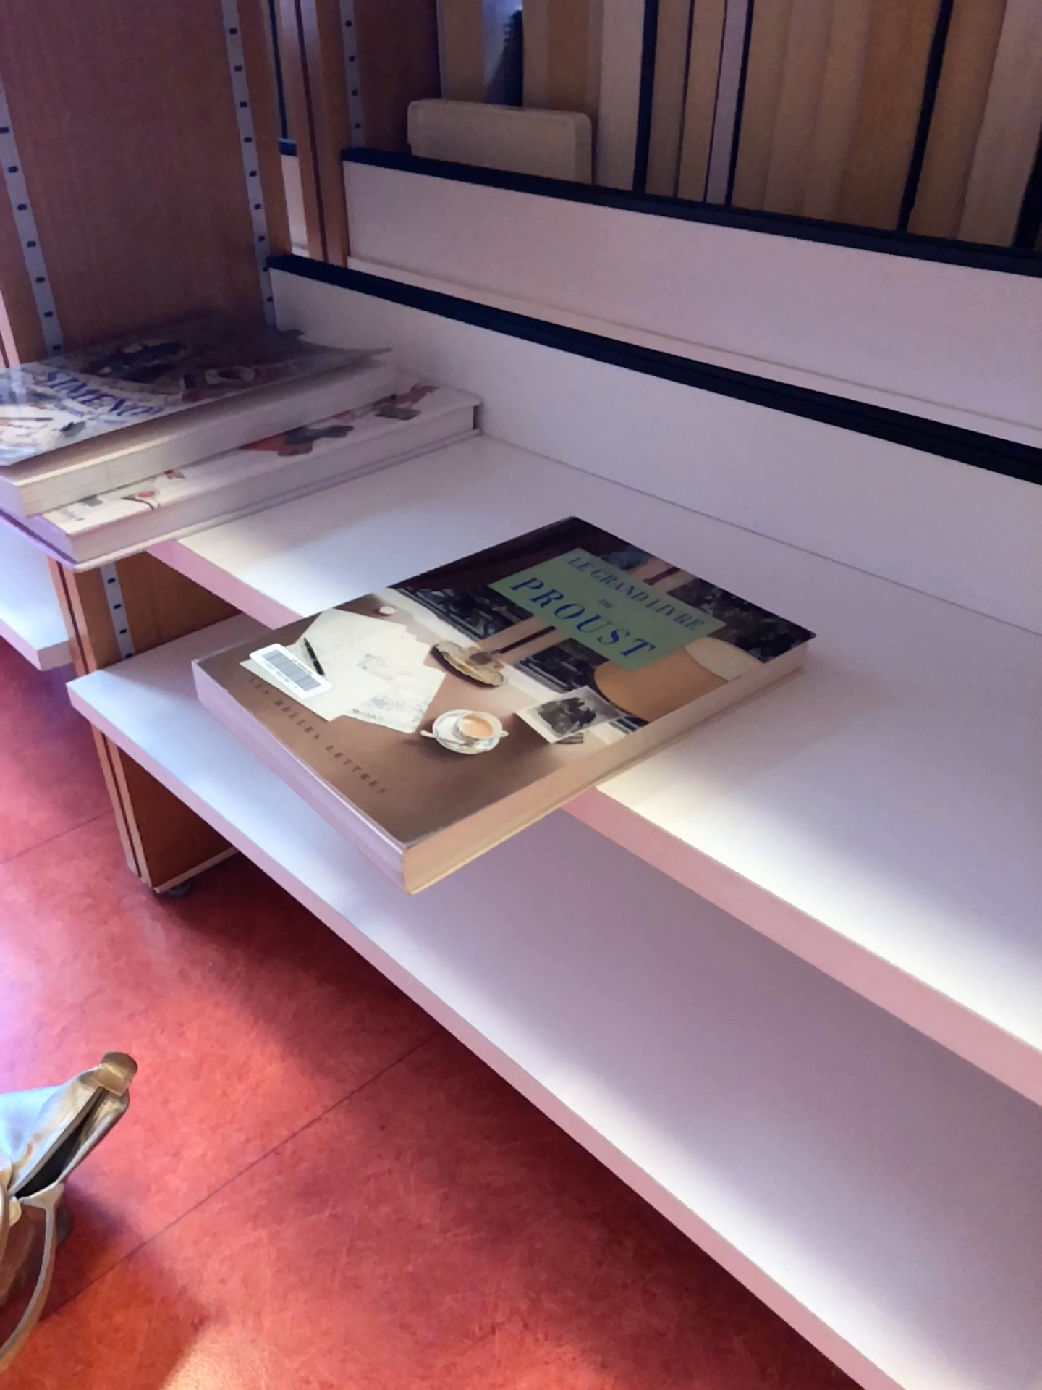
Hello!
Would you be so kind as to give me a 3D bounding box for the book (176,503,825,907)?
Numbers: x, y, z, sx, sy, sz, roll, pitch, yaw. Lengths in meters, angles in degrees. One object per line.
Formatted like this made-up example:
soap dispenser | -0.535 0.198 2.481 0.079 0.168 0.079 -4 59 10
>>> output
book | -0.009 -0.015 0.542 0.246 0.030 0.180 -25 39 -30
